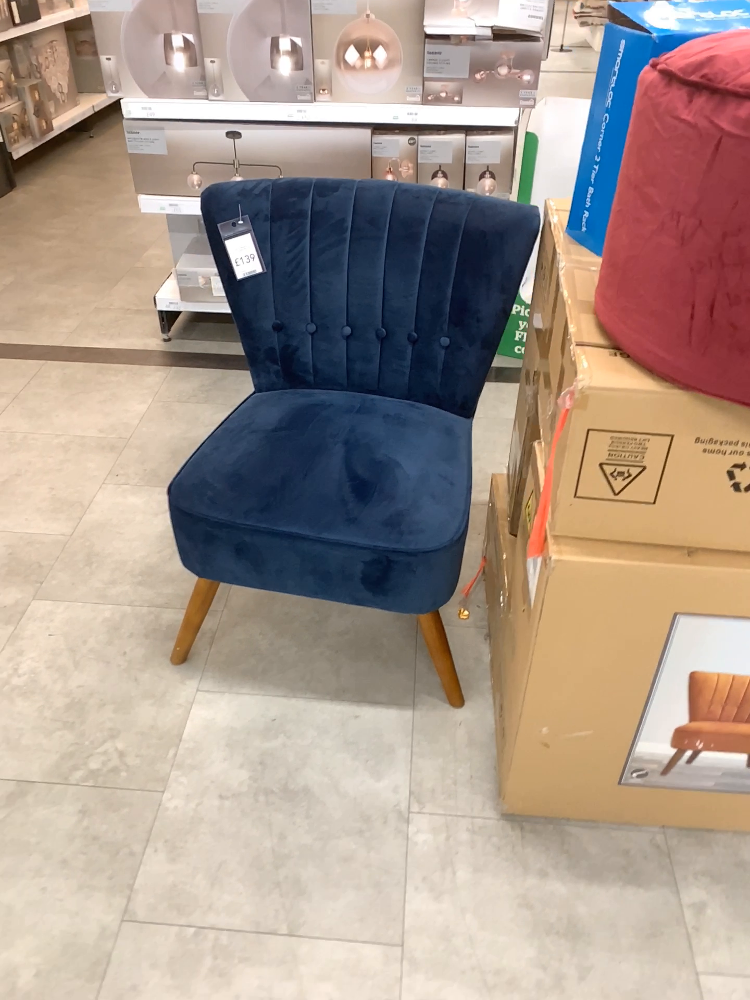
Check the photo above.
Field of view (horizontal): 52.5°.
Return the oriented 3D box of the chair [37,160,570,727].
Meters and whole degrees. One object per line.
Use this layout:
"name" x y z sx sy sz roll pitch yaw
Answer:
"chair" -0.047 -0.150 1.531 0.730 0.790 0.732 7 38 8
